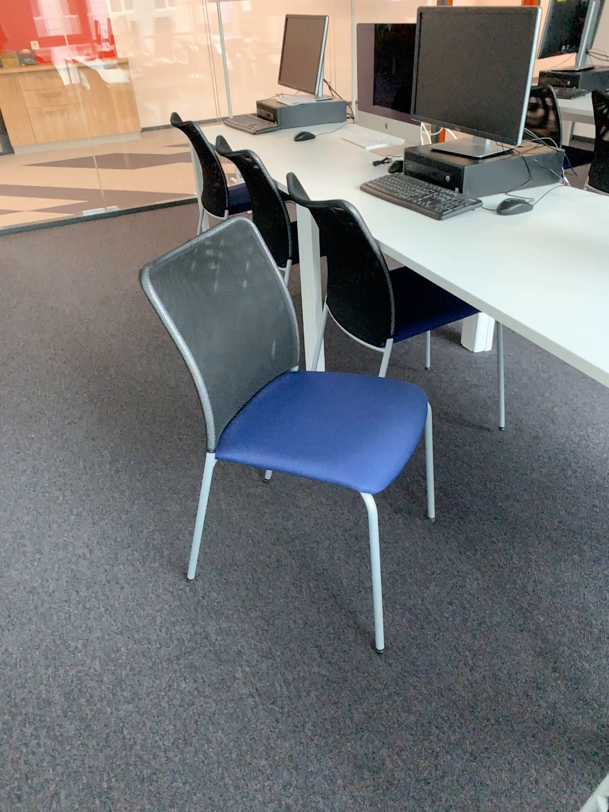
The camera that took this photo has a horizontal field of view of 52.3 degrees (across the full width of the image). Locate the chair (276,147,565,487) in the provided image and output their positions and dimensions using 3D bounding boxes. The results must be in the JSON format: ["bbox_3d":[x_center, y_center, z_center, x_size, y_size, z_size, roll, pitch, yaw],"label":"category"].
[{"bbox_3d":[0.343,-0.326,2.088,0.651,0.865,0.573,-16,34,-18],"label":"chair"}]

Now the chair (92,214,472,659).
[{"bbox_3d":[0.001,0.034,1.563,0.631,0.825,0.573,12,36,24],"label":"chair"}]
